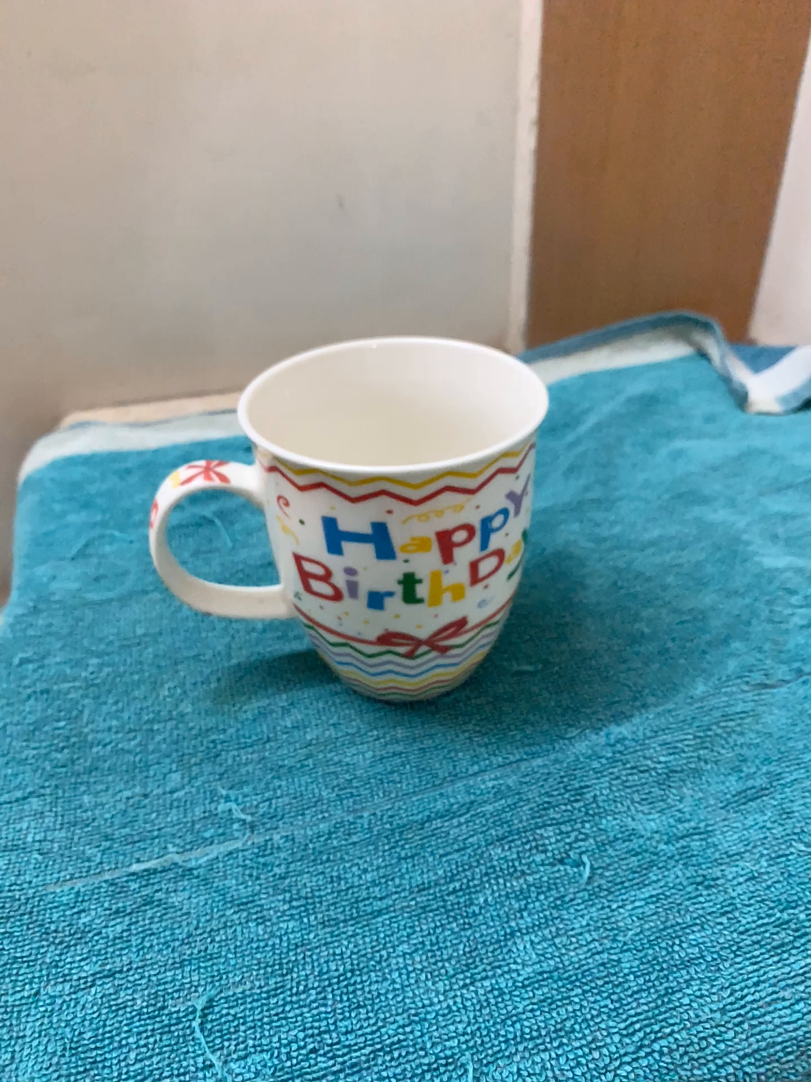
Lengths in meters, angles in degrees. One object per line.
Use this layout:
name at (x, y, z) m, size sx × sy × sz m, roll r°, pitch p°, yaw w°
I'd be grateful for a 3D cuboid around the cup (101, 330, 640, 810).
cup at (-0.013, 0.004, 0.267) m, size 0.130 × 0.099 × 0.091 m, roll -8°, pitch 34°, yaw -9°
